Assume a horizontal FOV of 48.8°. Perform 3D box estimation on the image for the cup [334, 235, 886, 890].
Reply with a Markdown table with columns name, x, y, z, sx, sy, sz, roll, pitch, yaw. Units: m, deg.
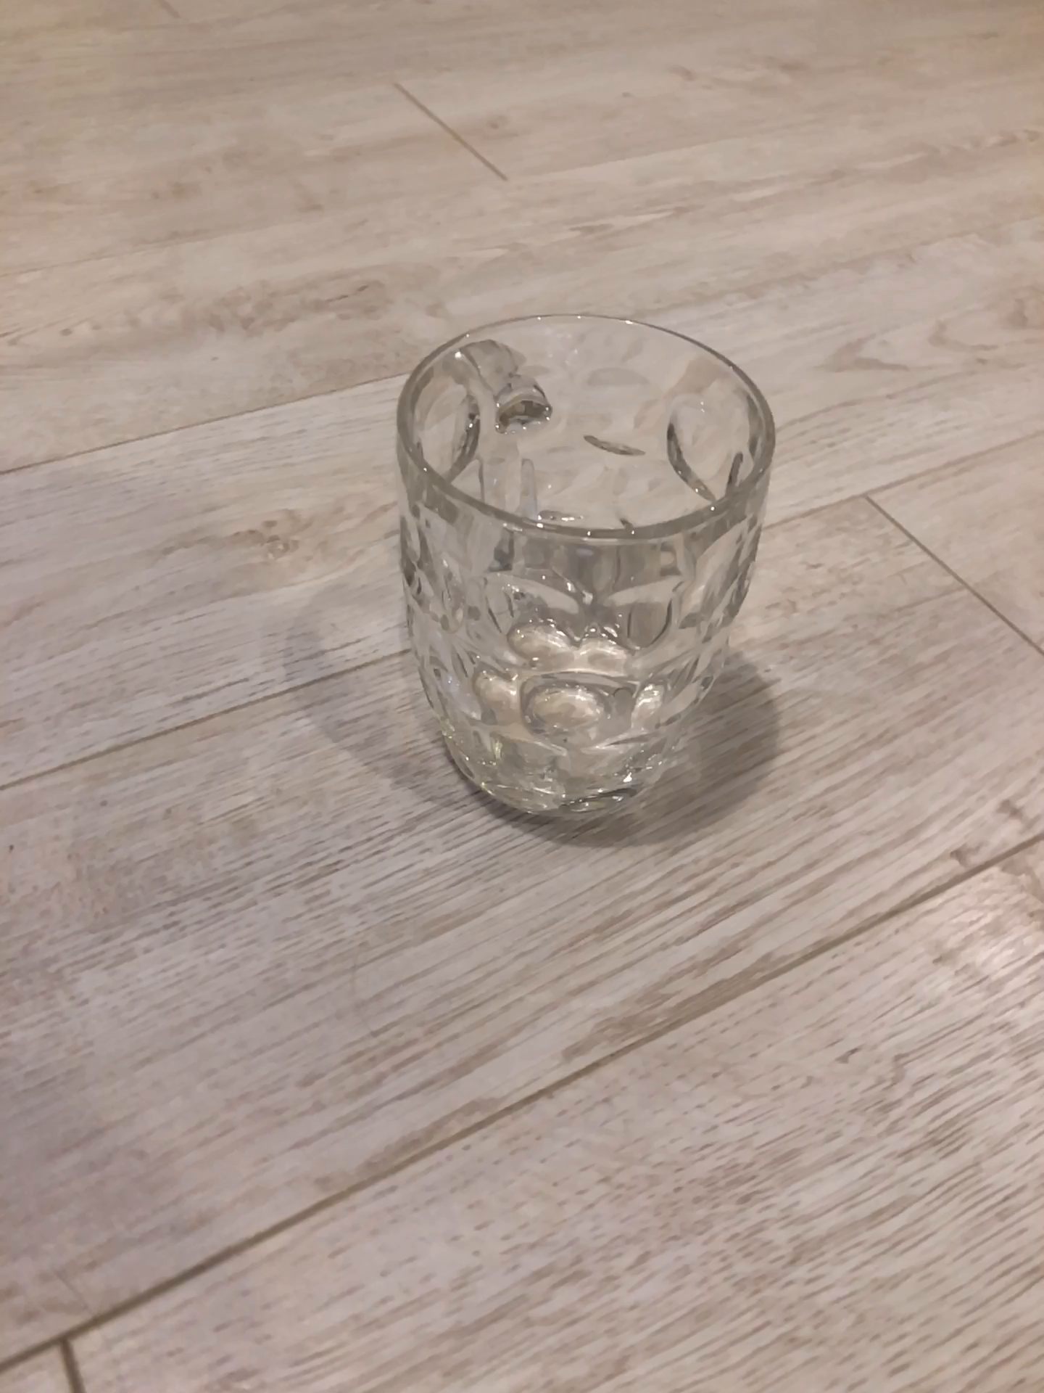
| name | x | y | z | sx | sy | sz | roll | pitch | yaw |
| --- | --- | --- | --- | --- | --- | --- | --- | --- | --- |
| cup | 0.011 | -0.043 | 0.330 | 0.100 | 0.109 | 0.141 | -10 | 49 | -13 |
